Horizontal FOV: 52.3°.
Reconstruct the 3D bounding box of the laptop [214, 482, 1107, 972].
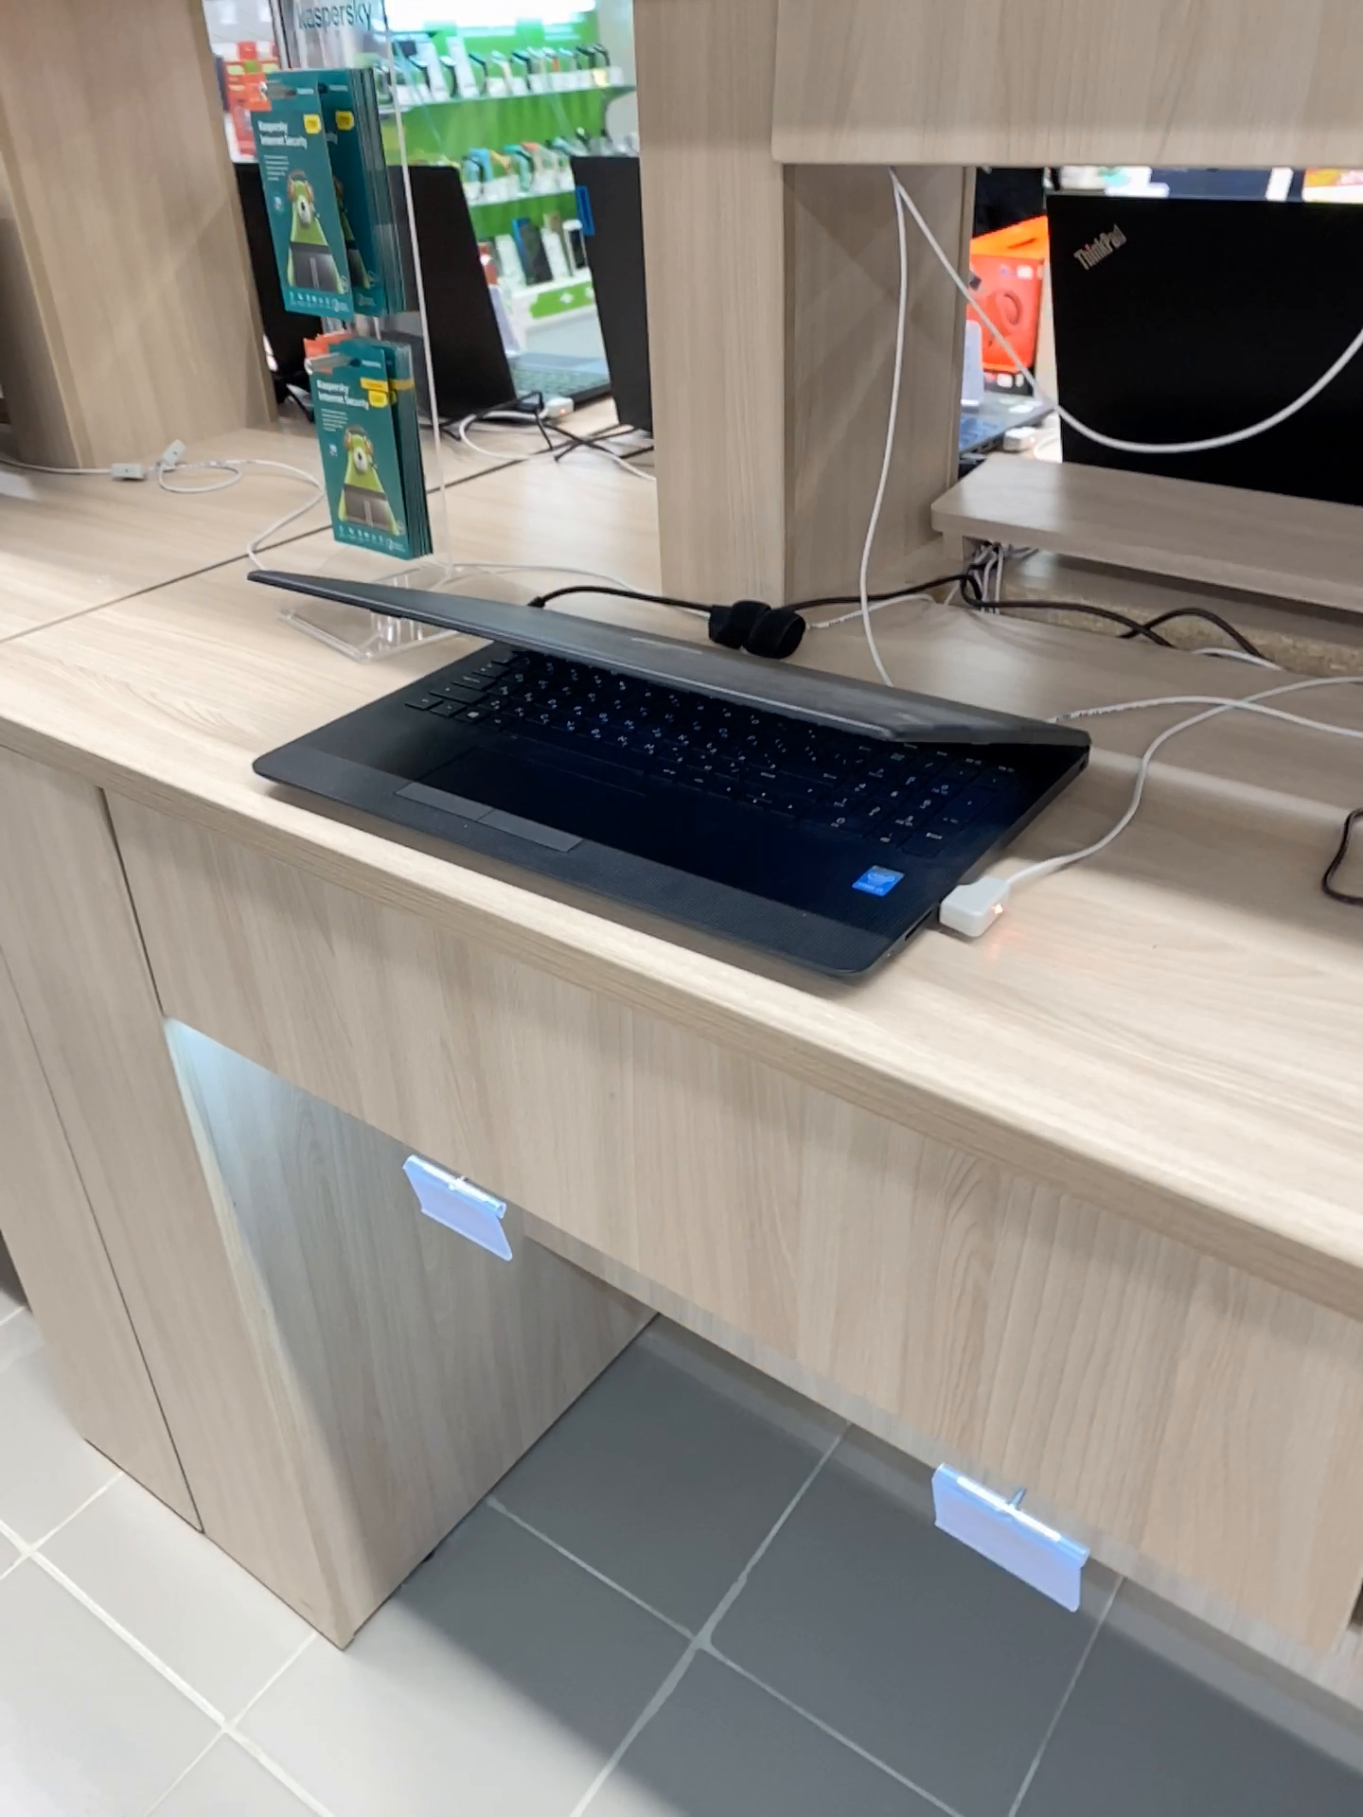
[{"bbox_3d":[-0.012,-0.122,0.719,0.374,0.093,0.252,19,37,31],"label":"laptop"}]
